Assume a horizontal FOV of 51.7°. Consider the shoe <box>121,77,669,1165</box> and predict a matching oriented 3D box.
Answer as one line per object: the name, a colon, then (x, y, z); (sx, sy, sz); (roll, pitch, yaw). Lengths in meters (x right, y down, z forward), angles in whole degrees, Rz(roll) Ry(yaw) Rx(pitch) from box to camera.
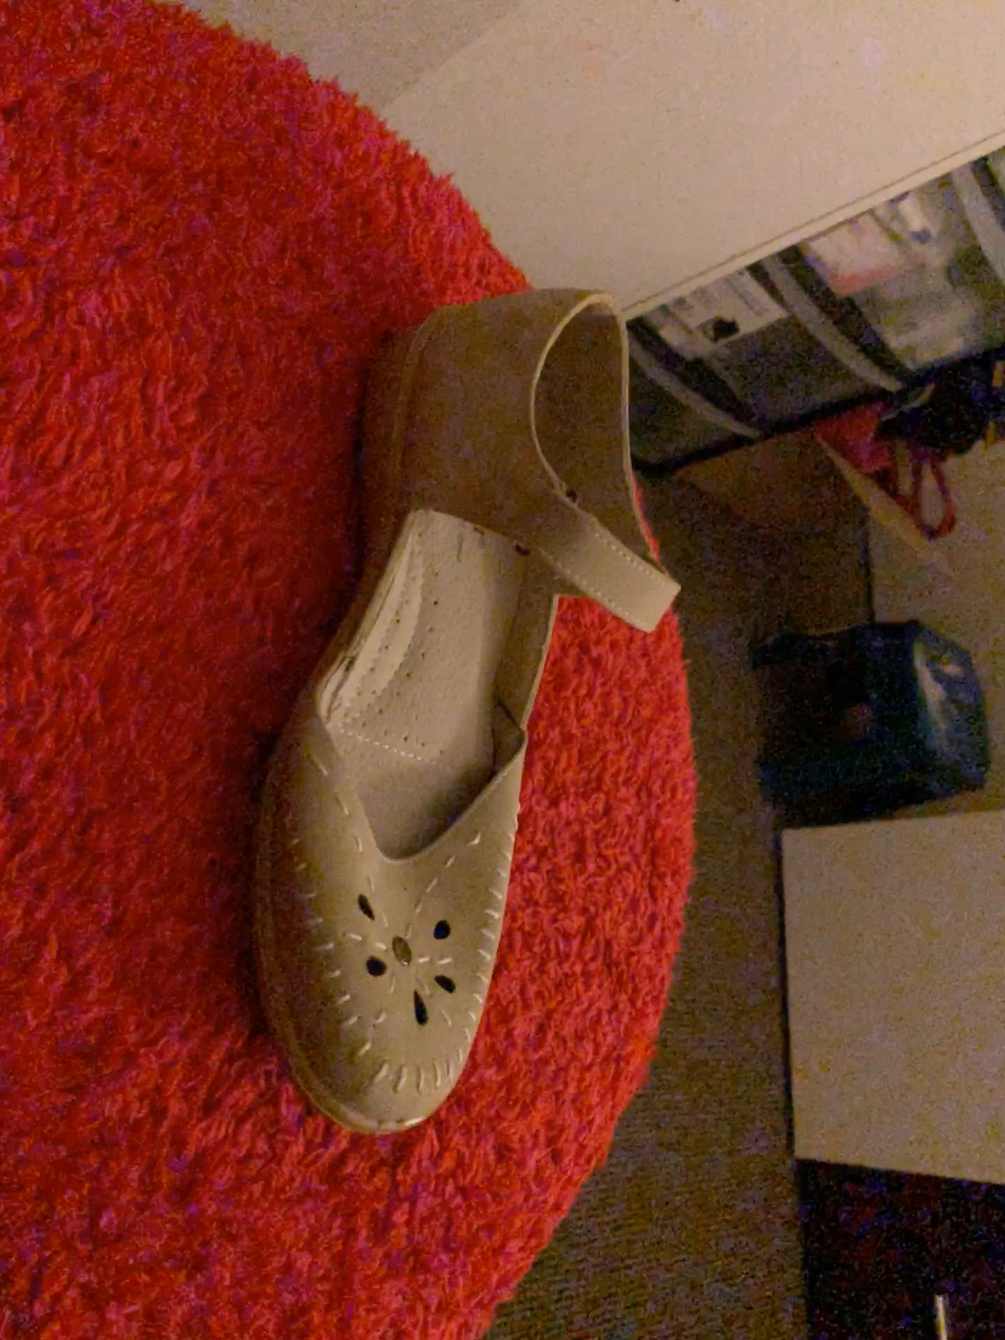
shoe: (-0.015, -0.022, 0.321); (0.096, 0.079, 0.307); (29, 58, -41)
